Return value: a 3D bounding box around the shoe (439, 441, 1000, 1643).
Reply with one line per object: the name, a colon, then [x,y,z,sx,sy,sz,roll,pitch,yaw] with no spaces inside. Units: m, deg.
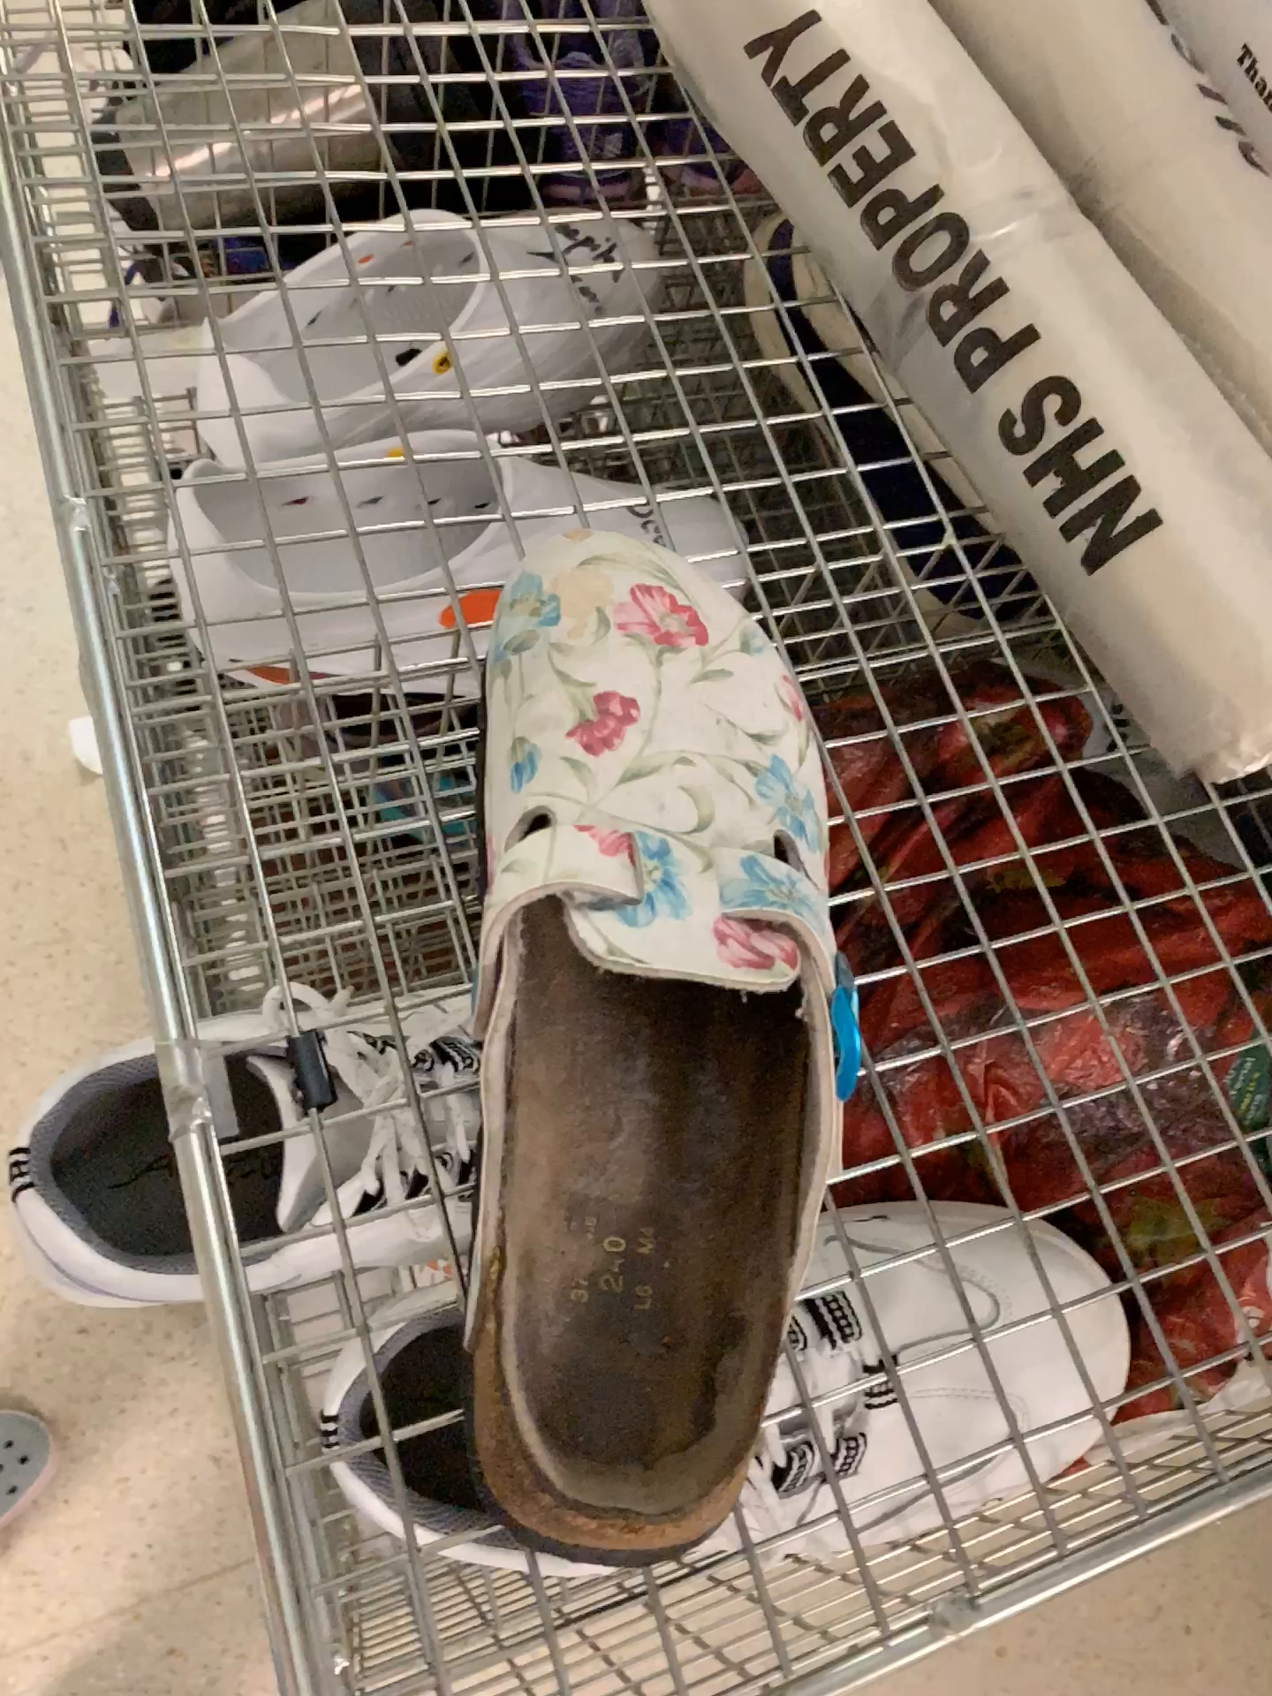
shoe: [0.011,0.034,0.317,0.100,0.070,0.260,4,67,-10]
